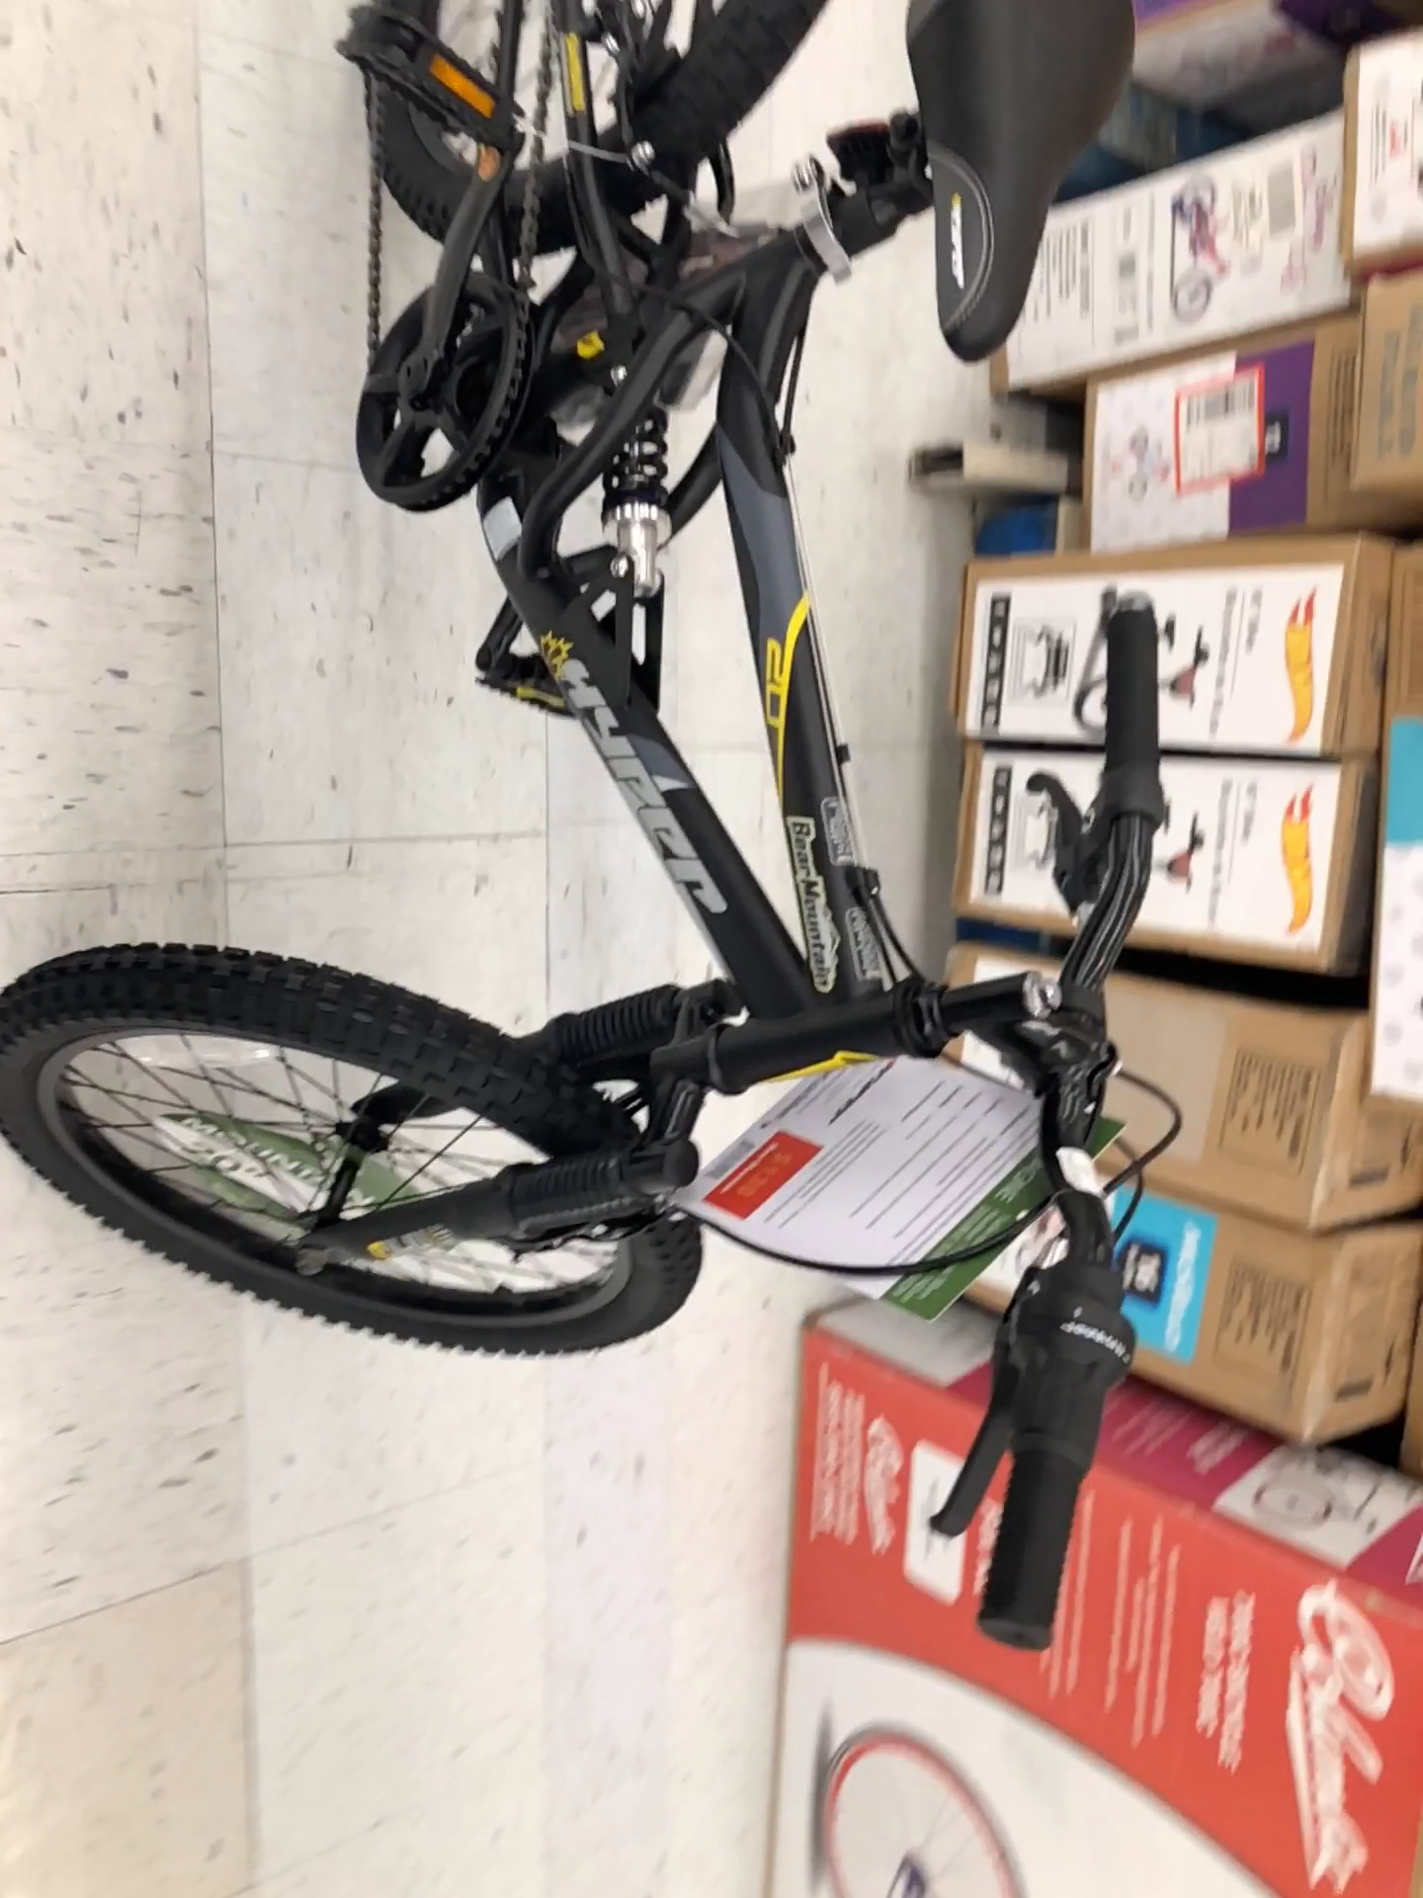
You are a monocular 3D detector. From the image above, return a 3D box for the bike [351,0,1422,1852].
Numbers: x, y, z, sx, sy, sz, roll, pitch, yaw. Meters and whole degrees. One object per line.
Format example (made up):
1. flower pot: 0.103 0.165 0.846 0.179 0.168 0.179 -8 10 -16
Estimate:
1. bike: 0.191 -0.277 1.056 0.525 0.850 1.258 1 93 -40
